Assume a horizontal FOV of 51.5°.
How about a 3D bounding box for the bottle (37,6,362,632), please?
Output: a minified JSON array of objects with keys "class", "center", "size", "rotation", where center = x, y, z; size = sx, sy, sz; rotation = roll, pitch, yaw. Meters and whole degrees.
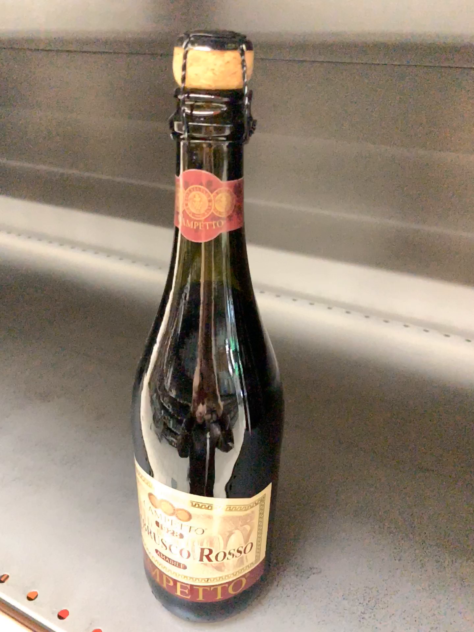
[{"class":"bottle","center":[-0.015,0.025,0.246],"size":[0.090,0.299,0.080],"rotation":[14,30,21]}]
